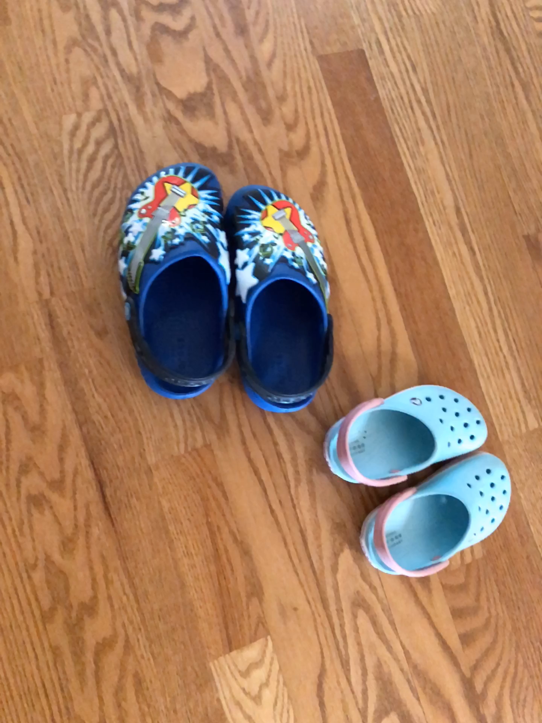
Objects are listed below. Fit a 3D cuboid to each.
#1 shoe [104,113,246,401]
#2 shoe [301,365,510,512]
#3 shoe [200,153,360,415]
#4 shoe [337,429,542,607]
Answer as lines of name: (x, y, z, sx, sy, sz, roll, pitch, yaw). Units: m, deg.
shoe: (-0.086, -0.085, 0.519, 0.110, 0.070, 0.230, 0, 80, -13)
shoe: (0.125, 0.070, 0.560, 0.170, 0.050, 0.090, -14, 83, -15)
shoe: (0.003, -0.068, 0.543, 0.110, 0.070, 0.220, -3, 81, -14)
shoe: (0.161, 0.140, 0.554, 0.170, 0.050, 0.090, -22, 86, -16)
